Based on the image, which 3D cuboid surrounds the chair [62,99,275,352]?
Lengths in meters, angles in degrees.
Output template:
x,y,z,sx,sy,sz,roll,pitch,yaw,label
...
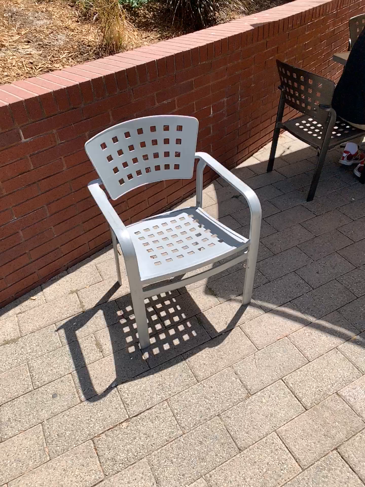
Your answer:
x,y,z,sx,sy,sz,roll,pitch,yaw,label
-0.050,-0.086,1.504,0.558,0.718,0.493,-21,41,-20,chair
